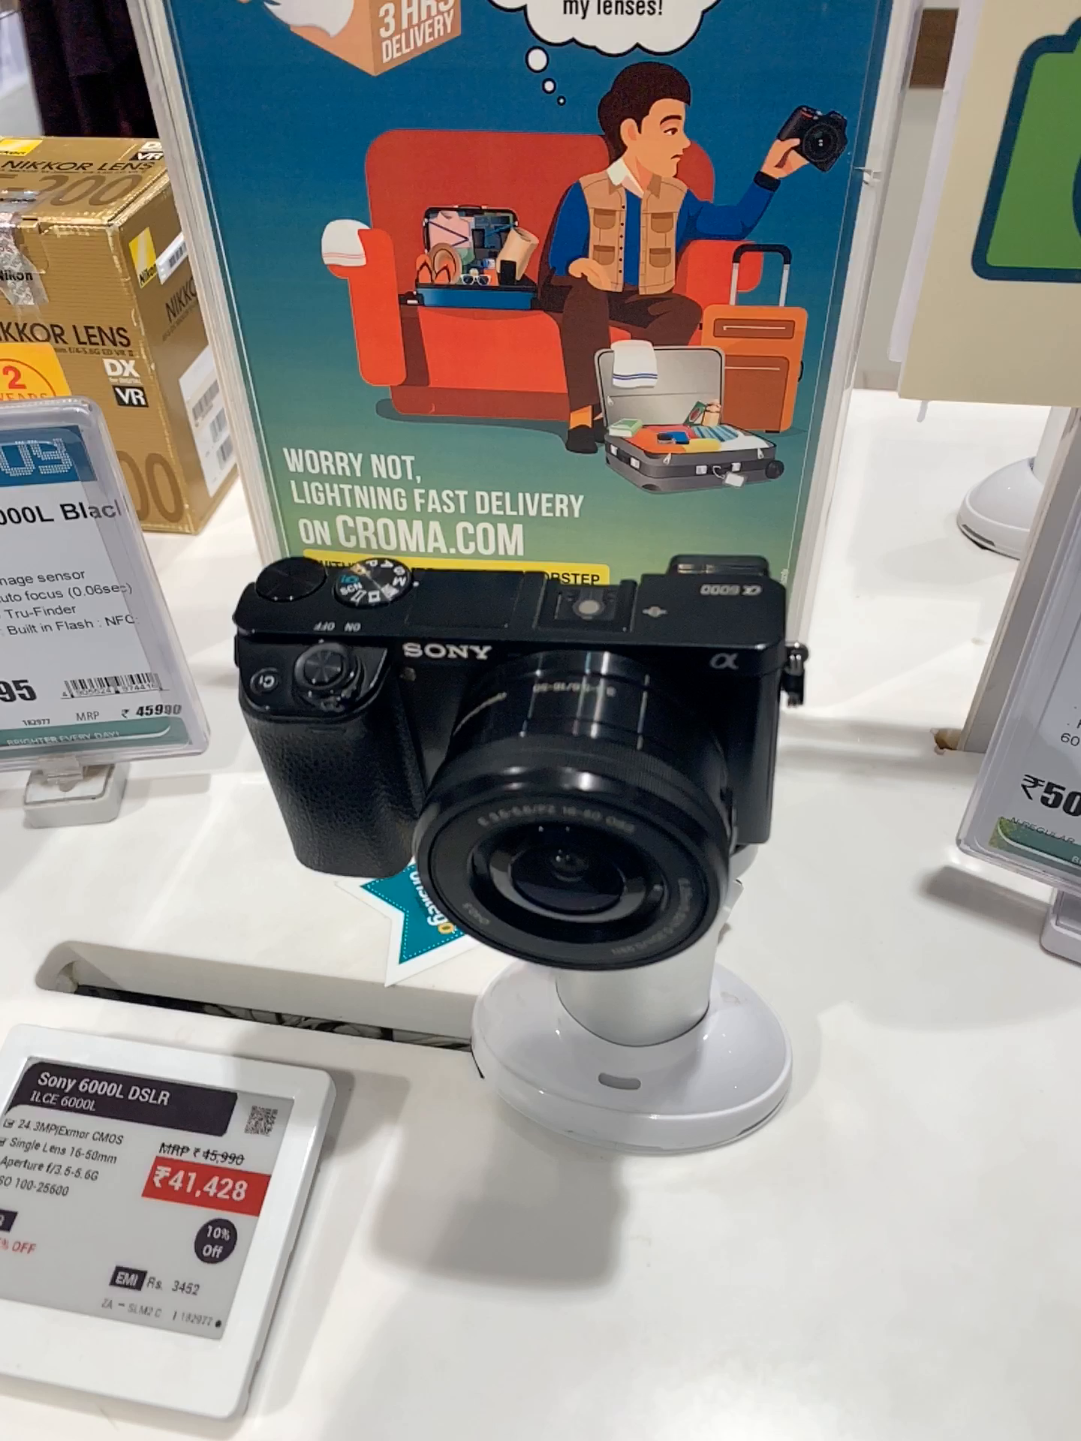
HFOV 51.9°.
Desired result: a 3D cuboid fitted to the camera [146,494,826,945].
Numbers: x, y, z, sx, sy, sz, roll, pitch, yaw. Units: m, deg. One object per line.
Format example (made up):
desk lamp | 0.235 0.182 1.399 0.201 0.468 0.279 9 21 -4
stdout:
camera | -0.008 0.000 0.236 0.118 0.073 0.056 2 43 5
